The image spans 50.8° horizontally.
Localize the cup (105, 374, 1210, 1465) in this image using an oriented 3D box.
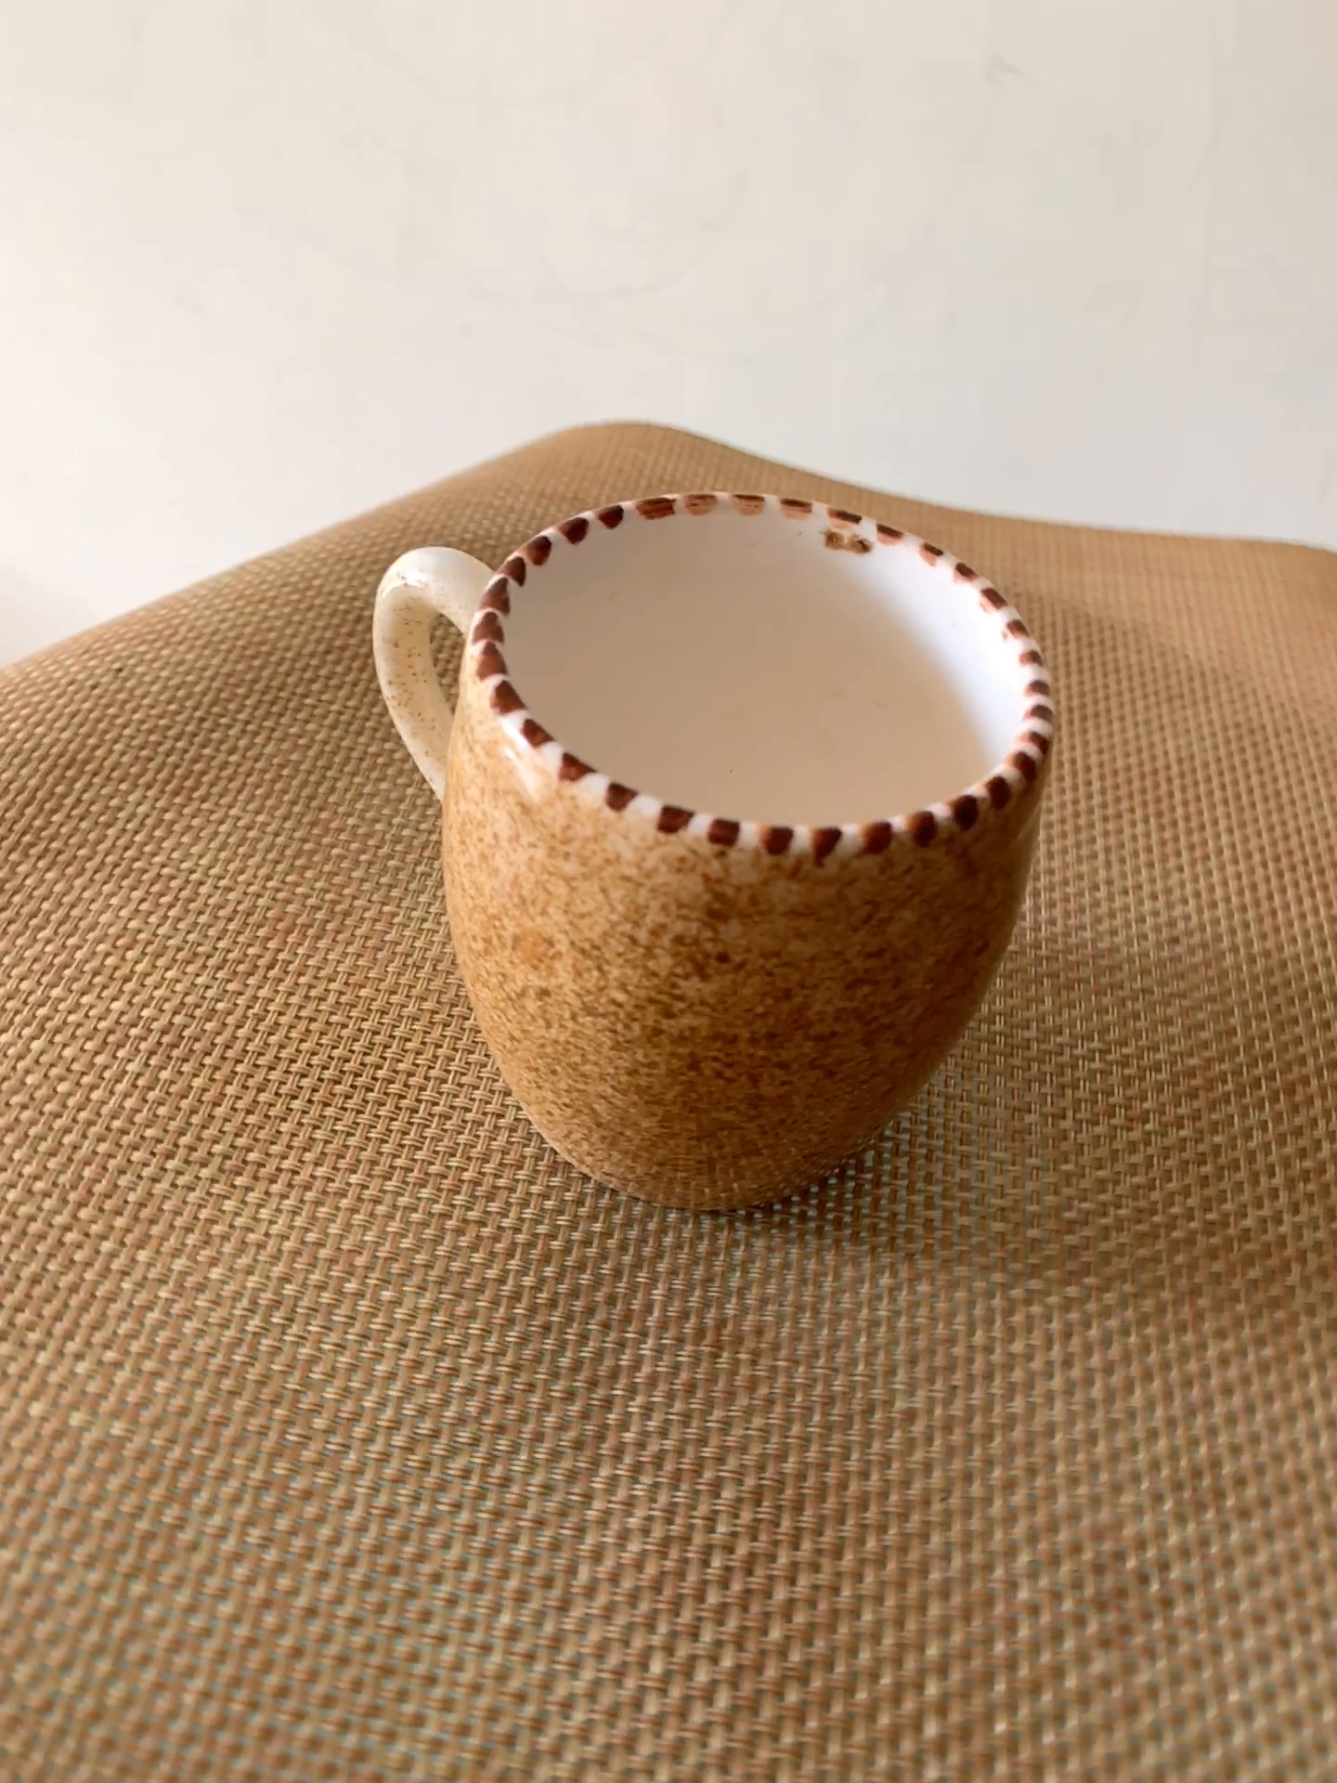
[{"bbox_3d":[-0.004,-0.003,0.168,0.090,0.069,0.070,36,51,27],"label":"cup"}]
